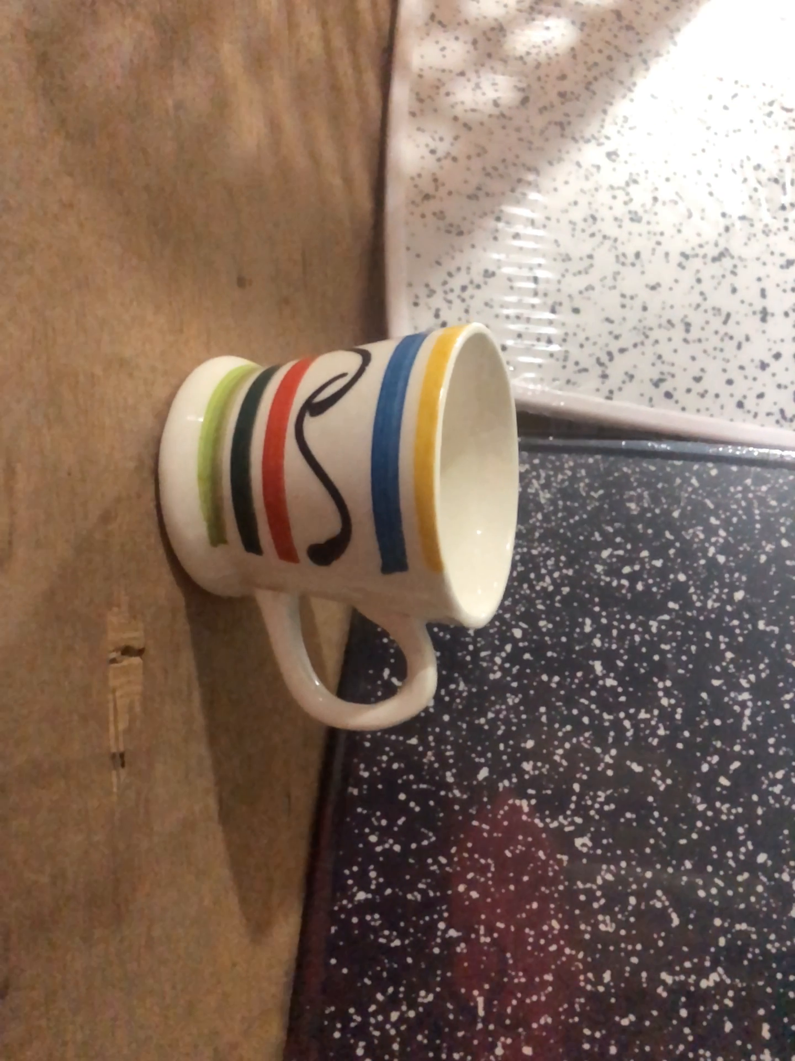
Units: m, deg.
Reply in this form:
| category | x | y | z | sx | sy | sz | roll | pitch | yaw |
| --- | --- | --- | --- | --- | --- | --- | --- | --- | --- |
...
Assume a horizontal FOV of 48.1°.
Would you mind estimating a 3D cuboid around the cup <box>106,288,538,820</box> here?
| category | x | y | z | sx | sy | sz | roll | pitch | yaw |
| --- | --- | --- | --- | --- | --- | --- | --- | --- | --- |
| cup | -0.014 | 0.005 | 0.210 | 0.060 | 0.079 | 0.100 | 7 | 84 | -68 |
